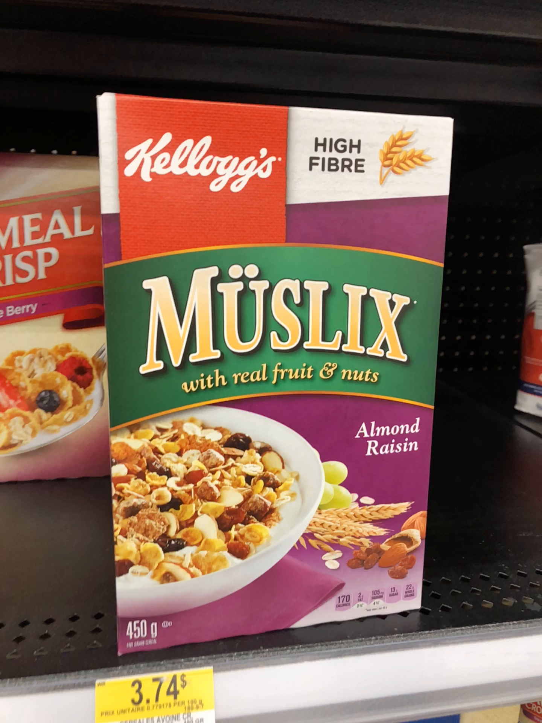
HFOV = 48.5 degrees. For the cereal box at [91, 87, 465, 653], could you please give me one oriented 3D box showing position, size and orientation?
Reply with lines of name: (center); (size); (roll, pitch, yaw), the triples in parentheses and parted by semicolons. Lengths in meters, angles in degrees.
cereal box: (0.000, 0.006, 0.318); (0.170, 0.259, 0.060); (-2, 12, -14)
